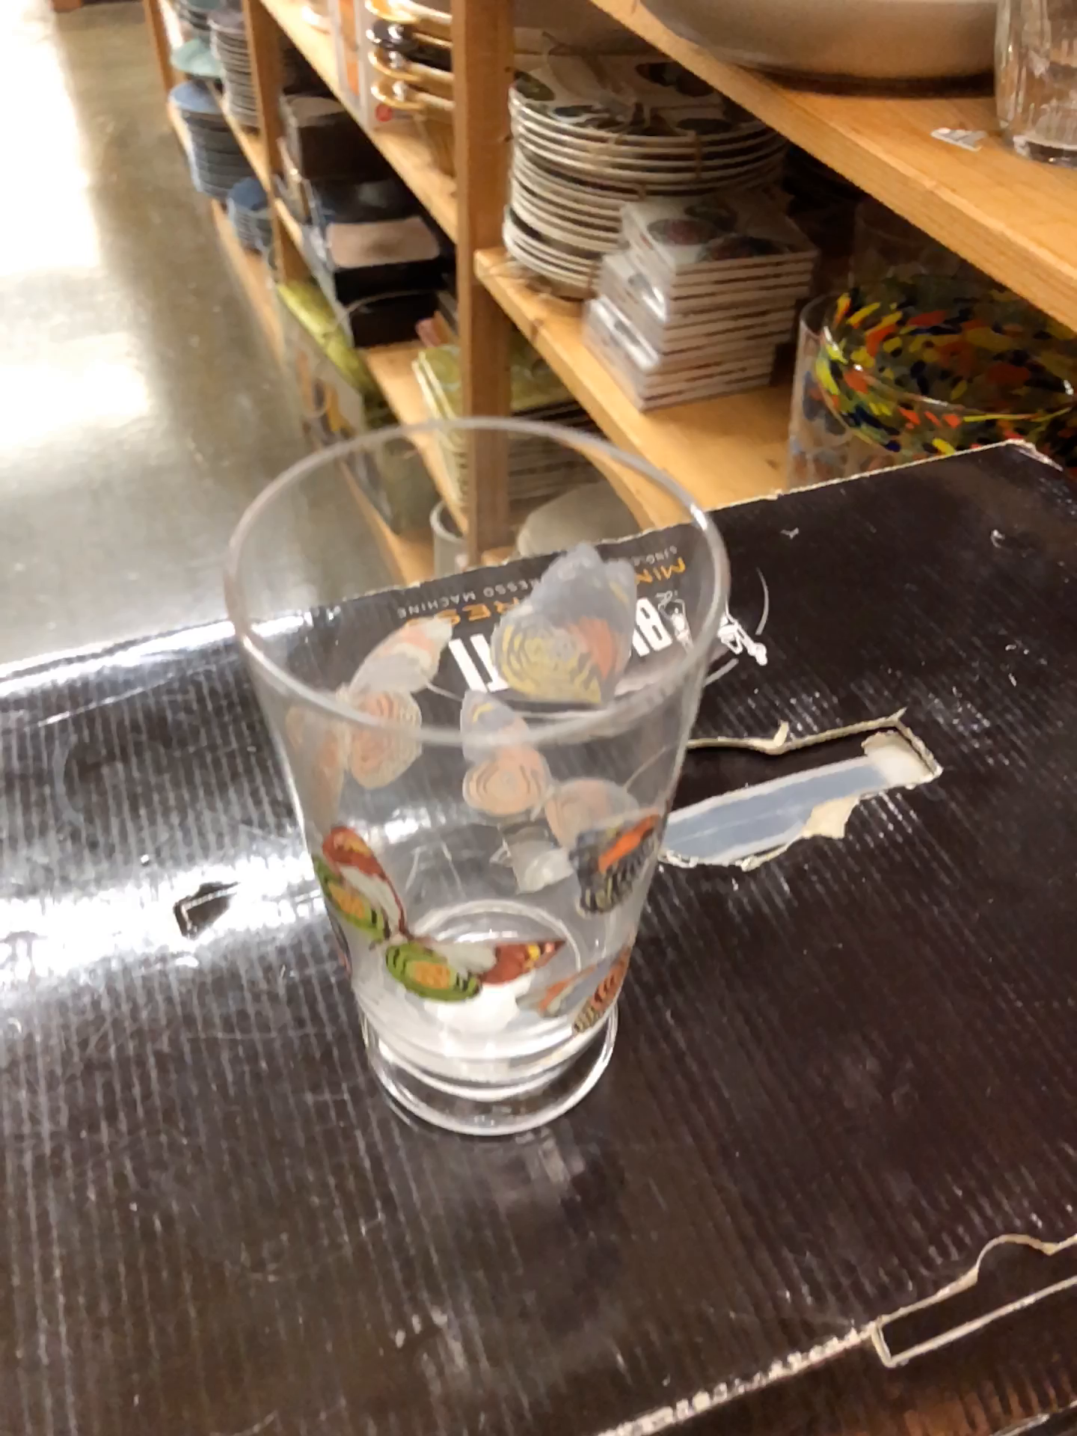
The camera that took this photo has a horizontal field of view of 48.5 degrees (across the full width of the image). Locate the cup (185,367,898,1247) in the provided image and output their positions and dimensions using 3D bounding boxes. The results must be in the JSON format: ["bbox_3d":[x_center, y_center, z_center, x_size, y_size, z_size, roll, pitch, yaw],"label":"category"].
[{"bbox_3d":[-0.005,0.019,0.209,0.079,0.125,0.075,0,45,0],"label":"cup"}]
